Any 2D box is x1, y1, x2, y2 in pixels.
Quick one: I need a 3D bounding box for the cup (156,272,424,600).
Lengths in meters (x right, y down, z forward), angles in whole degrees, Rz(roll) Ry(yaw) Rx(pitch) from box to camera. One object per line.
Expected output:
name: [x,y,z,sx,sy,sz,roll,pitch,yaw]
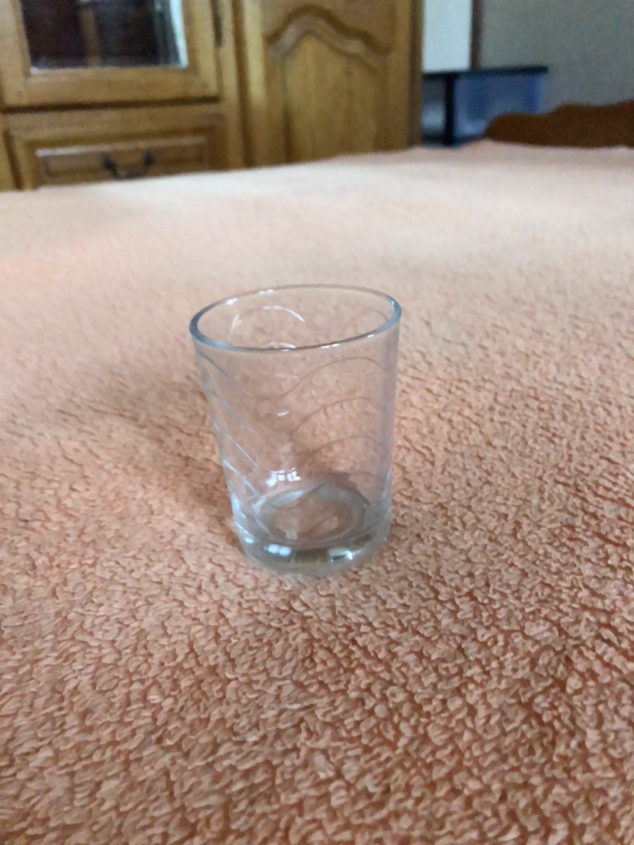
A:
cup: [-0.003,0.000,0.228,0.060,0.080,0.060,-3,25,2]
